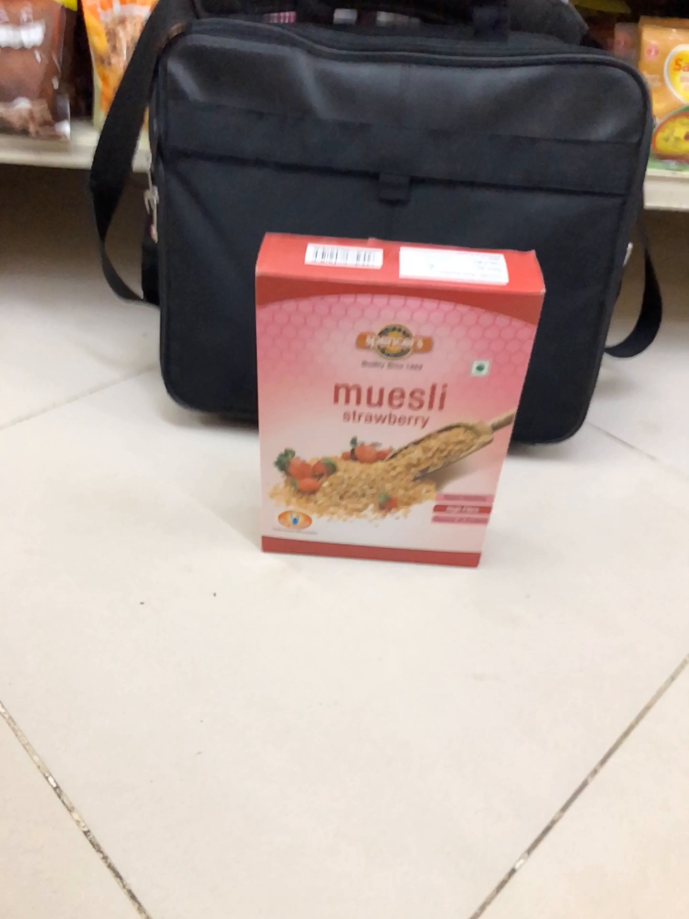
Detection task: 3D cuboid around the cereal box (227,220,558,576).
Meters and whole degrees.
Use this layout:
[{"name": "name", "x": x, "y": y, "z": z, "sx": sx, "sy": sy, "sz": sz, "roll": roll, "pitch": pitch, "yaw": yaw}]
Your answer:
[{"name": "cereal box", "x": 0.025, "y": -0.033, "z": 0.563, "sx": 0.200, "sy": 0.258, "sz": 0.060, "roll": 4, "pitch": 38, "yaw": 1}]
